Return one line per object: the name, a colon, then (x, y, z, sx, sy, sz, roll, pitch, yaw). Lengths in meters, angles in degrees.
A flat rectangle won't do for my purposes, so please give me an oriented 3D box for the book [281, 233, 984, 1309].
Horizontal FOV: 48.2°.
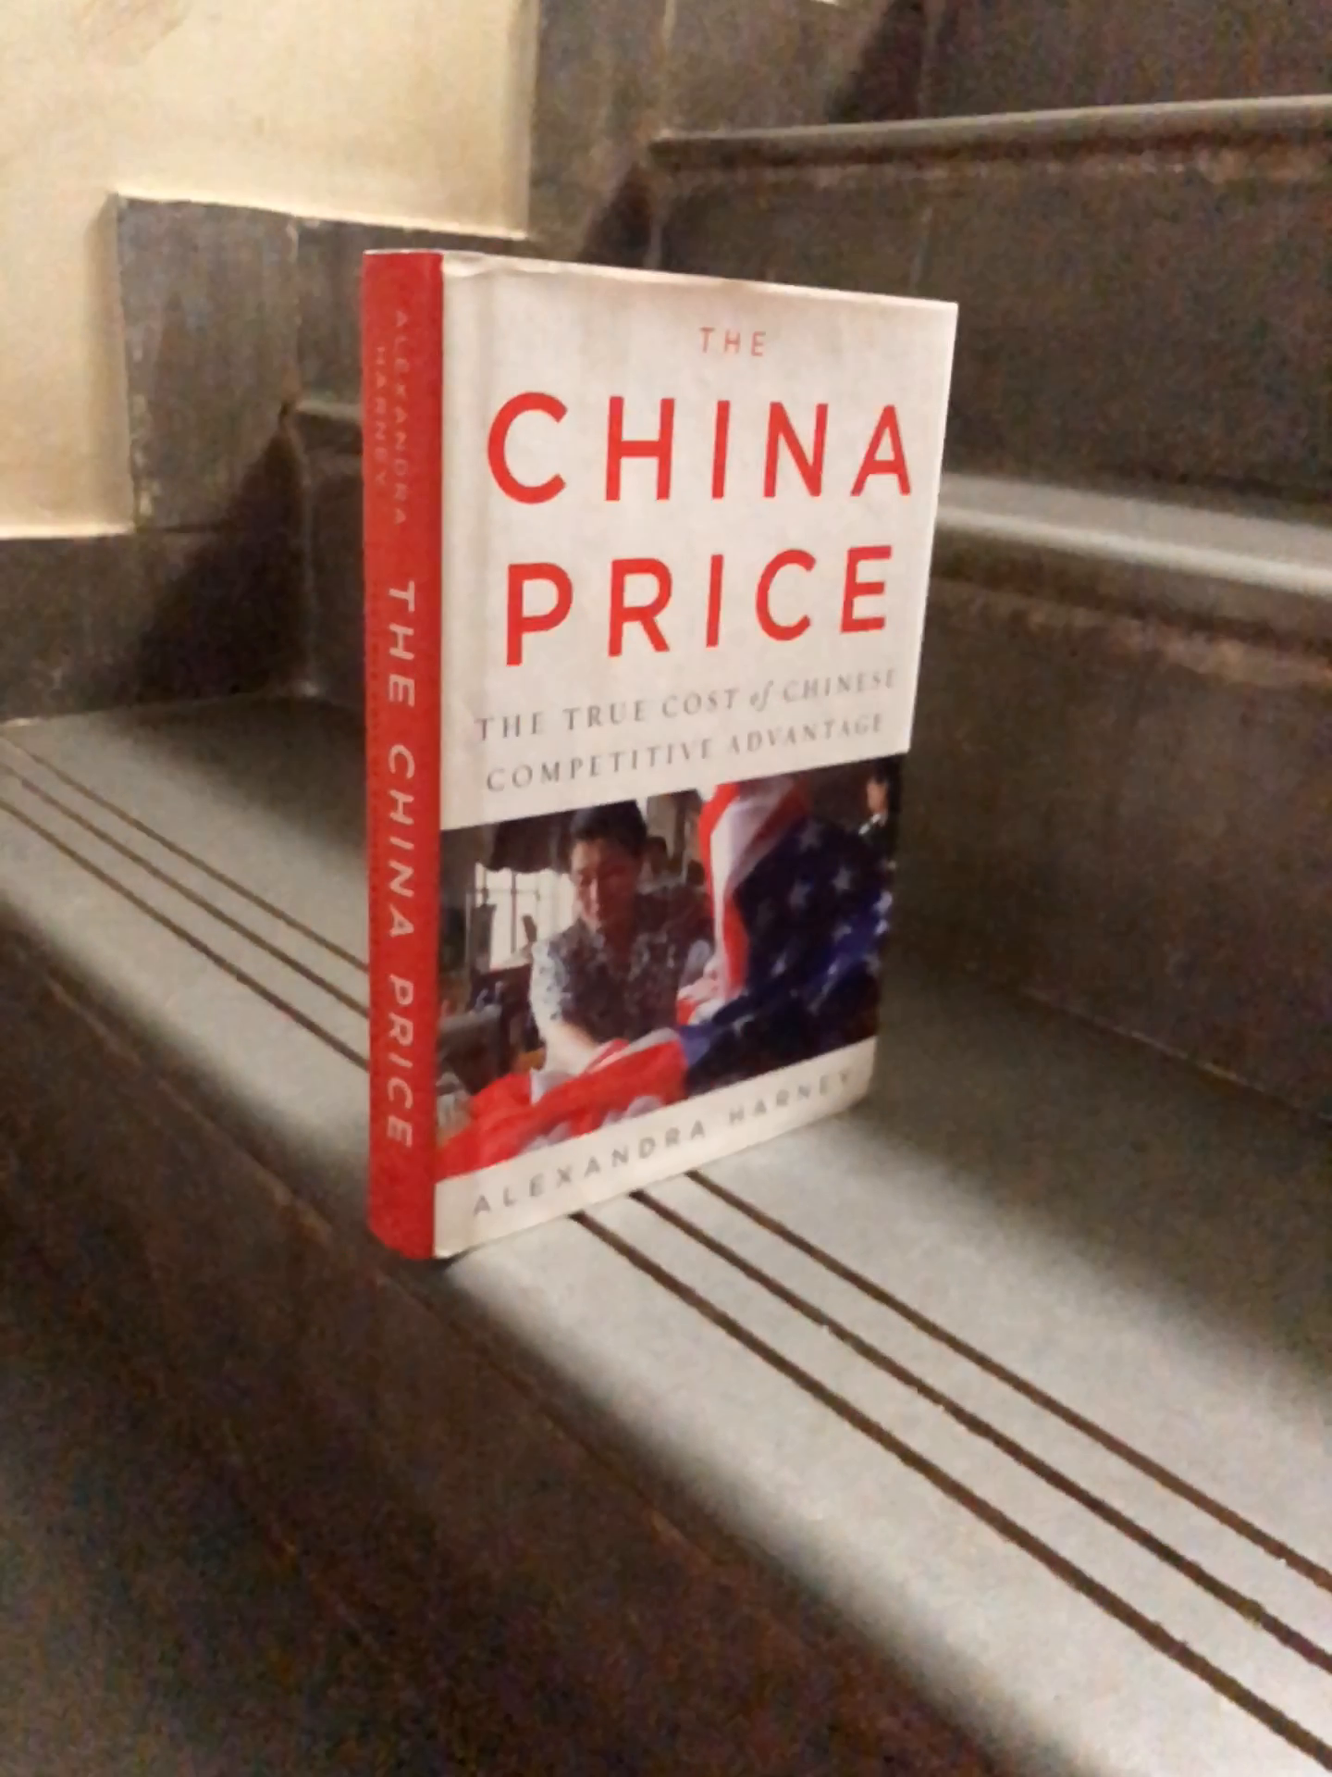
book: (-0.003, -0.034, 0.391, 0.180, 0.239, 0.040, -14, 25, -38)
